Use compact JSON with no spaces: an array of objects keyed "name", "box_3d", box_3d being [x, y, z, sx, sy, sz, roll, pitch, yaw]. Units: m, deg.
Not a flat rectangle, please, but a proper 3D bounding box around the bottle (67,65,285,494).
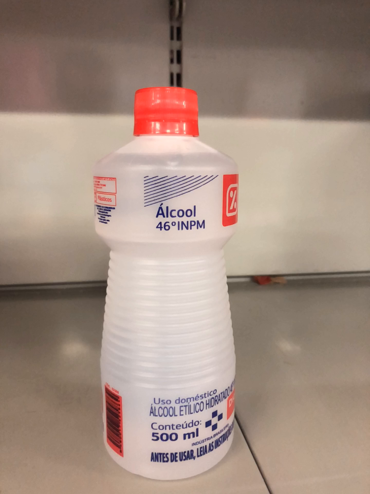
[{"name":"bottle","box_3d":[-0.009,0.013,0.213,0.080,0.179,0.080,-1,11,0]}]
